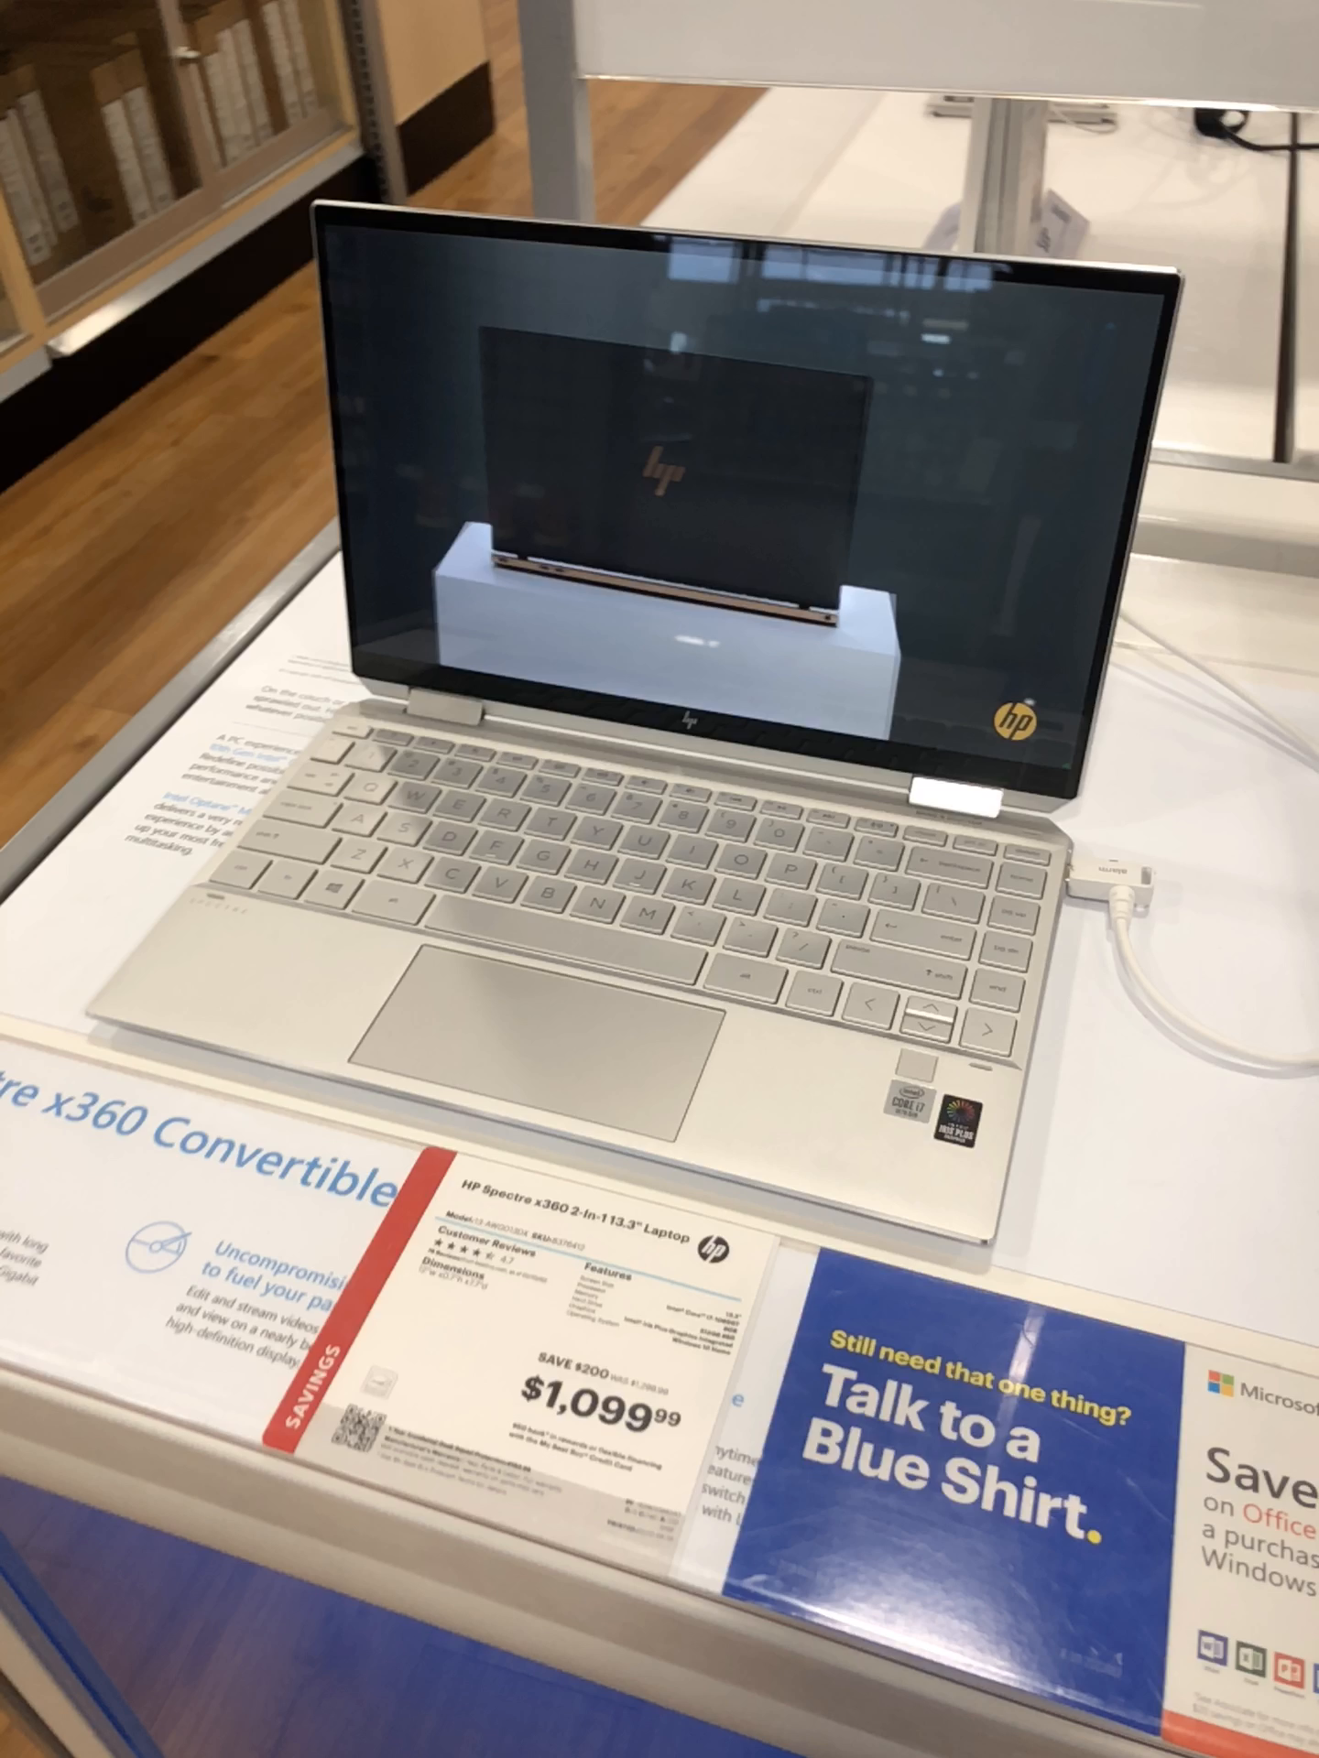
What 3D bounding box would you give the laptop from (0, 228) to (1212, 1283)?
[{"bbox_3d":[-0.011,-0.061,0.455,0.303,0.184,0.228,12,44,16],"label":"laptop"}]
